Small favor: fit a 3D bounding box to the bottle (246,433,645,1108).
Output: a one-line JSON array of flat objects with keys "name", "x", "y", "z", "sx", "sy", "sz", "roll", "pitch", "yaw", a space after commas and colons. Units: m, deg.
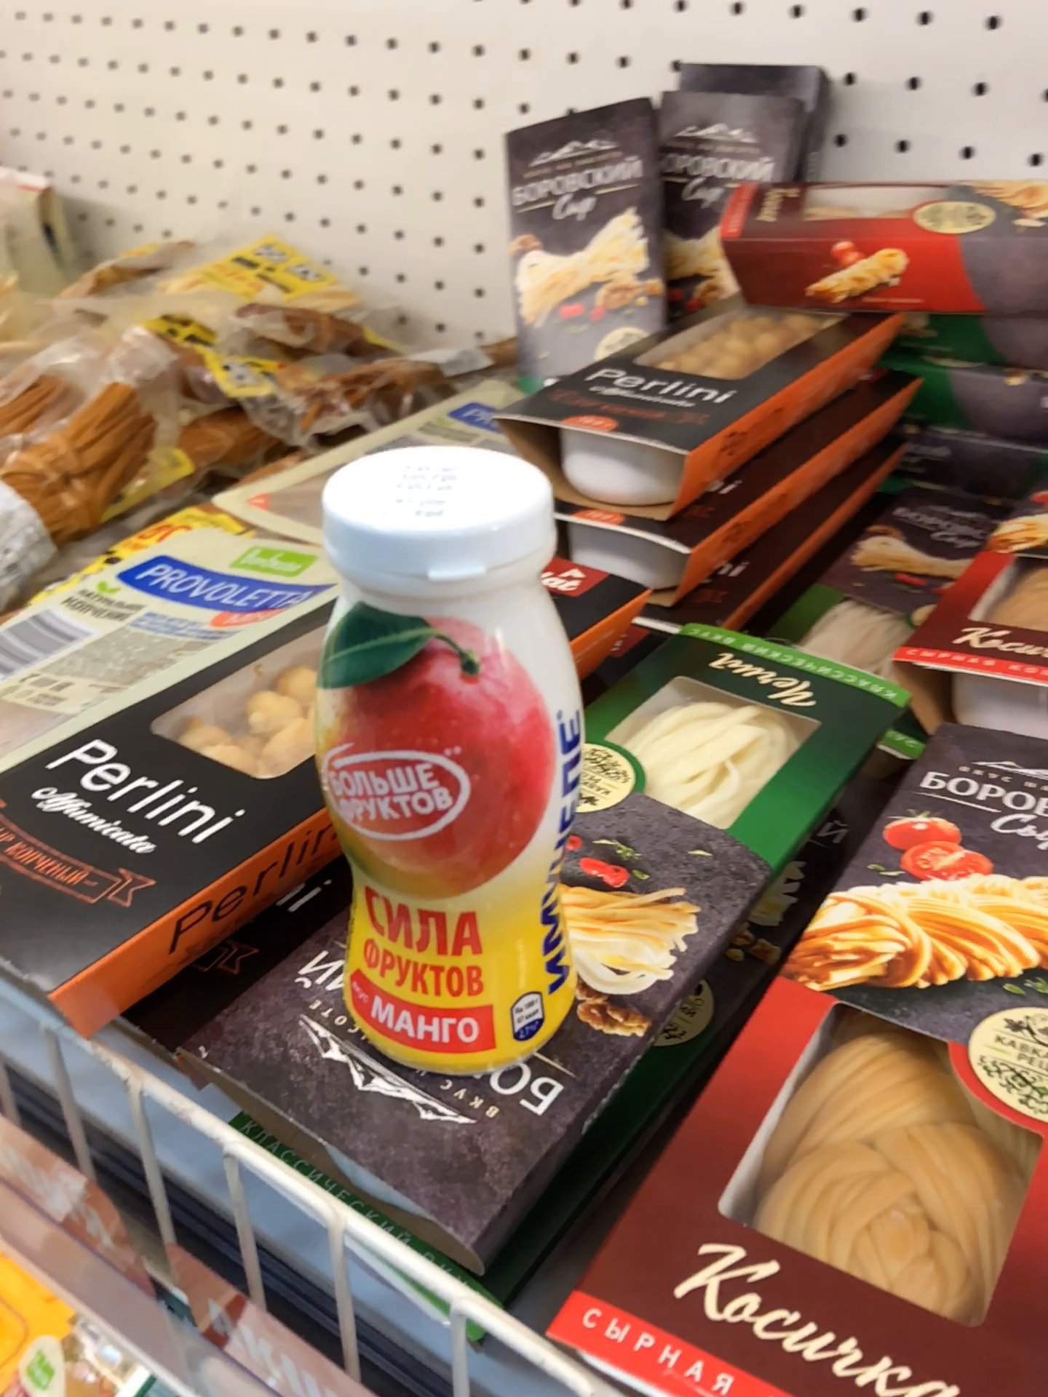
[{"name": "bottle", "x": -0.010, "y": 0.013, "z": 0.196, "sx": 0.046, "sy": 0.099, "sz": 0.044, "roll": 1, "pitch": 32, "yaw": -1}]
